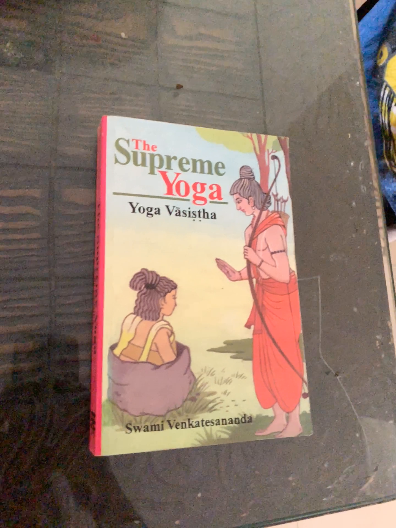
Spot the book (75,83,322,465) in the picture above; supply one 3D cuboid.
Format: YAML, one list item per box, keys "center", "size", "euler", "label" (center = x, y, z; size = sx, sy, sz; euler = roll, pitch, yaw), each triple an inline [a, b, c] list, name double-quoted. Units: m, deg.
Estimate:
- center: [-0.001, 0.000, 0.256]
  size: [0.140, 0.030, 0.210]
  euler: [1, 79, -17]
  label: "book"
